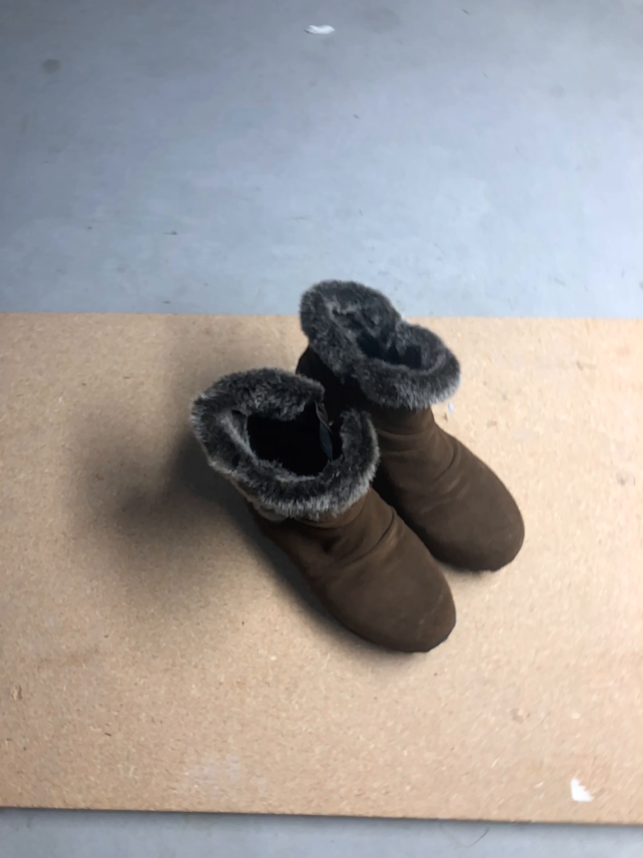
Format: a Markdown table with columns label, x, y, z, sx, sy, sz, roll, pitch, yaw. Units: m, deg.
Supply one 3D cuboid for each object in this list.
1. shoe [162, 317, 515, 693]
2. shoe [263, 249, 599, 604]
| label | x | y | z | sx | sy | sz | roll | pitch | yaw |
| --- | --- | --- | --- | --- | --- | --- | --- | --- | --- |
| shoe | 0.006 | 0.074 | 0.597 | 0.100 | 0.220 | 0.250 | -41 | 69 | -18 |
| shoe | 0.079 | 0.005 | 0.645 | 0.100 | 0.200 | 0.260 | -41 | 69 | -18 |
